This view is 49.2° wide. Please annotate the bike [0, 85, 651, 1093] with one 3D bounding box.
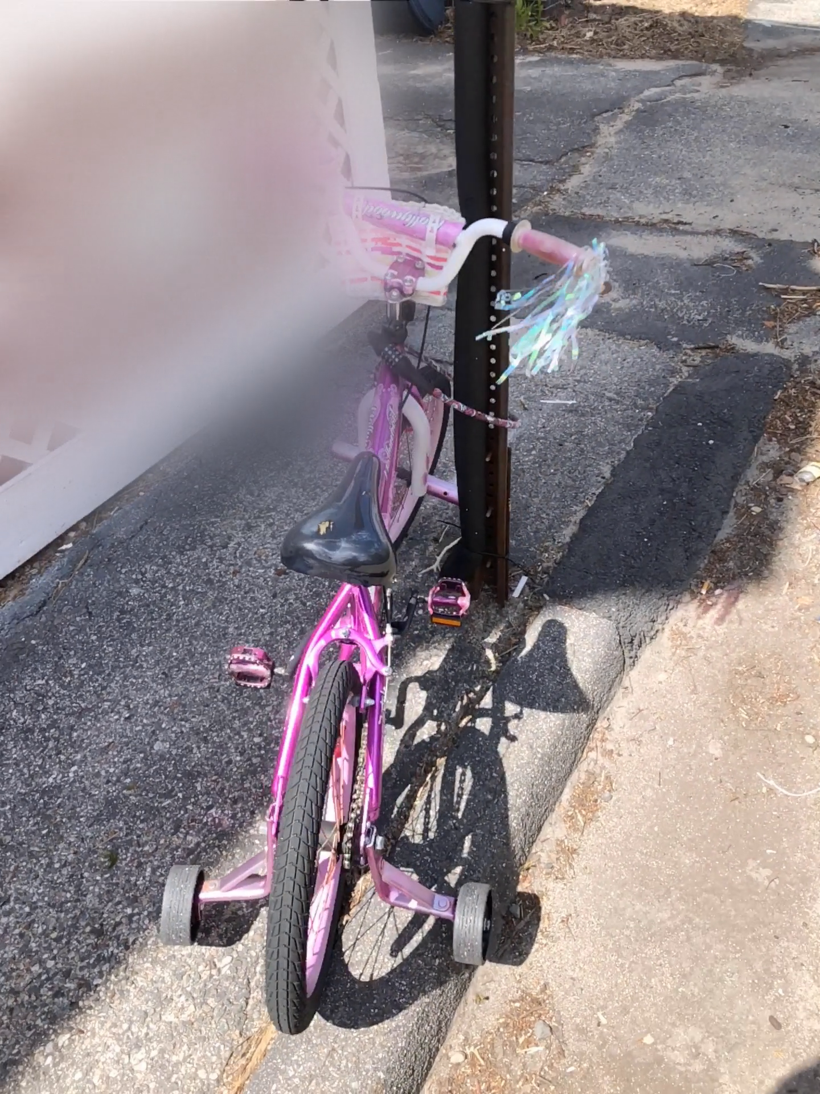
[{"bbox_3d":[-0.034,-0.059,1.318,0.613,0.869,1.234,3,39,9],"label":"bike"}]
